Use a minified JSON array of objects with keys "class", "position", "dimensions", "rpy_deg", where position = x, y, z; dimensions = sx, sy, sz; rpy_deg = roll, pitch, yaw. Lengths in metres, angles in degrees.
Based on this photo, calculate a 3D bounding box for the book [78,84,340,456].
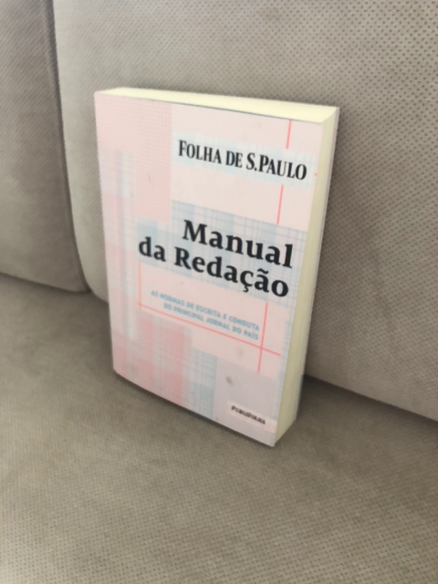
[{"class":"book","position":[-0.017,-0.017,0.350],"dimensions":[0.166,0.228,0.040],"rpy_deg":[19,31,29]}]
